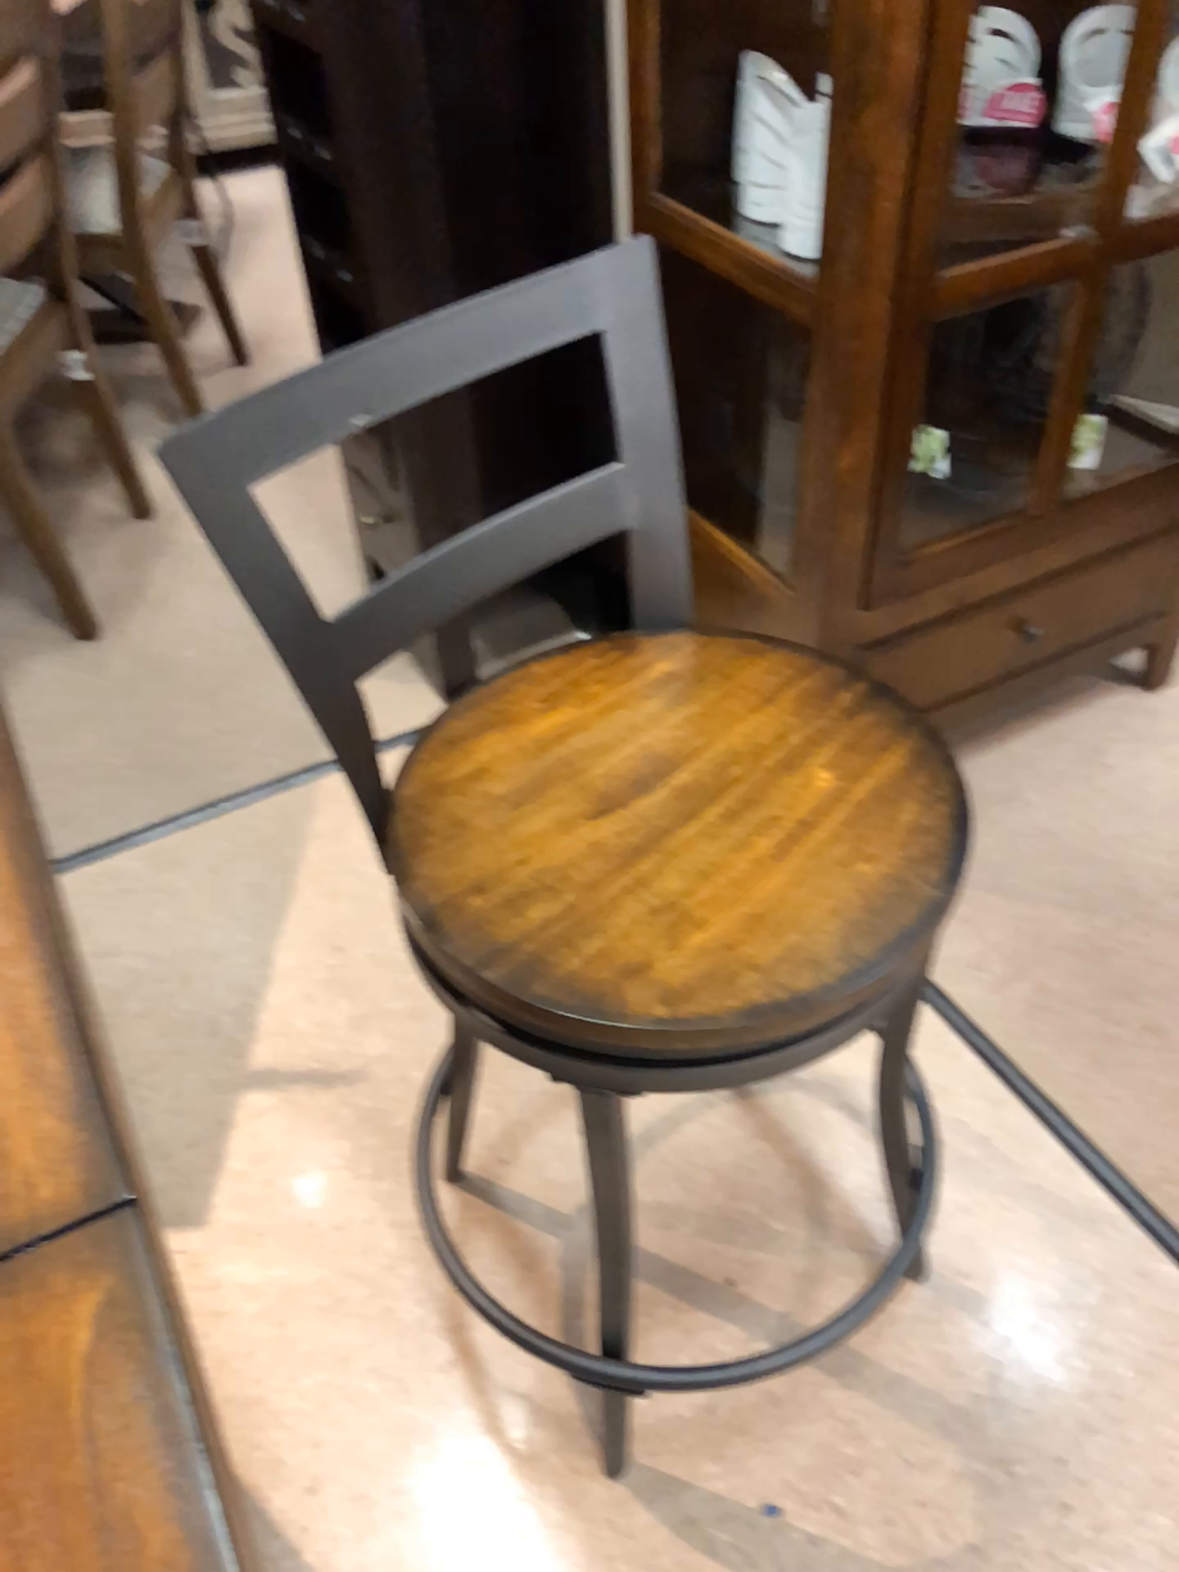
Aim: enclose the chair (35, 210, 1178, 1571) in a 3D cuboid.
[{"bbox_3d":[0.049,0.098,0.974,0.491,0.805,0.462,-34,49,-30],"label":"chair"}]
